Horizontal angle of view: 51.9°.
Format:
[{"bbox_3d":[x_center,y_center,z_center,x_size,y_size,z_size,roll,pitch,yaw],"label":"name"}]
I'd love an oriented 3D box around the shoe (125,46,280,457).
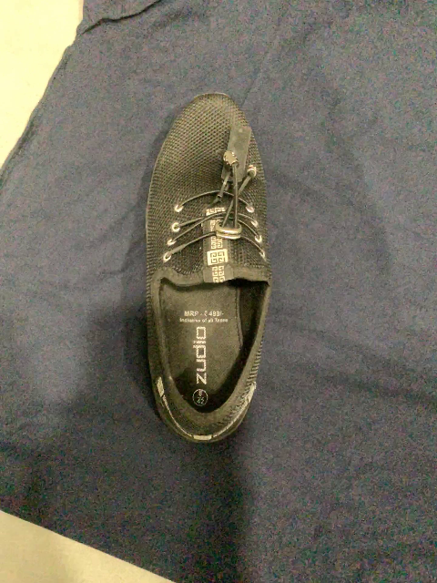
[{"bbox_3d":[-0.012,-0.031,0.355,0.100,0.090,0.290,0,82,-1],"label":"shoe"}]
